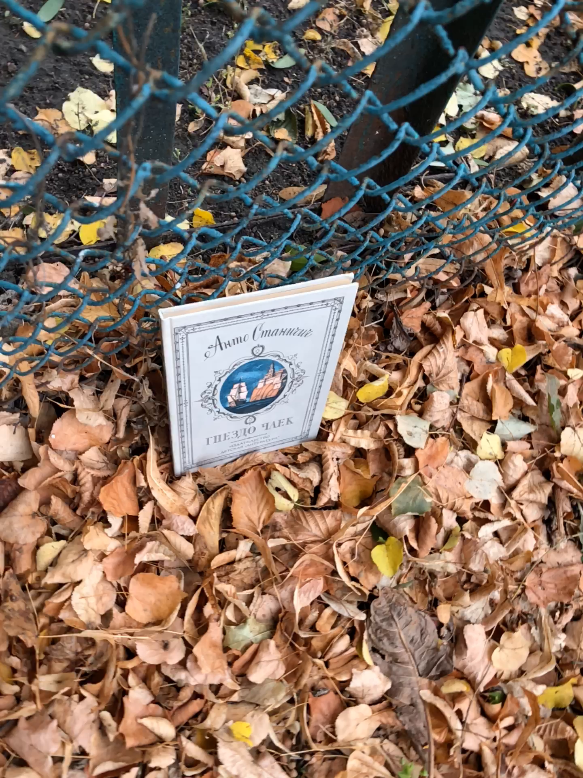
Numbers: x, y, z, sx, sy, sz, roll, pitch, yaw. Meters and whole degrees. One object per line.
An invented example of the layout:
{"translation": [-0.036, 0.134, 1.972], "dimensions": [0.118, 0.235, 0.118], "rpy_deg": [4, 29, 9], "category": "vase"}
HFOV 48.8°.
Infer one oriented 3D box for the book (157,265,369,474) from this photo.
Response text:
{"translation": [-0.026, -0.004, 0.469], "dimensions": [0.128, 0.200, 0.016], "rpy_deg": [-13, 60, -15], "category": "book"}
